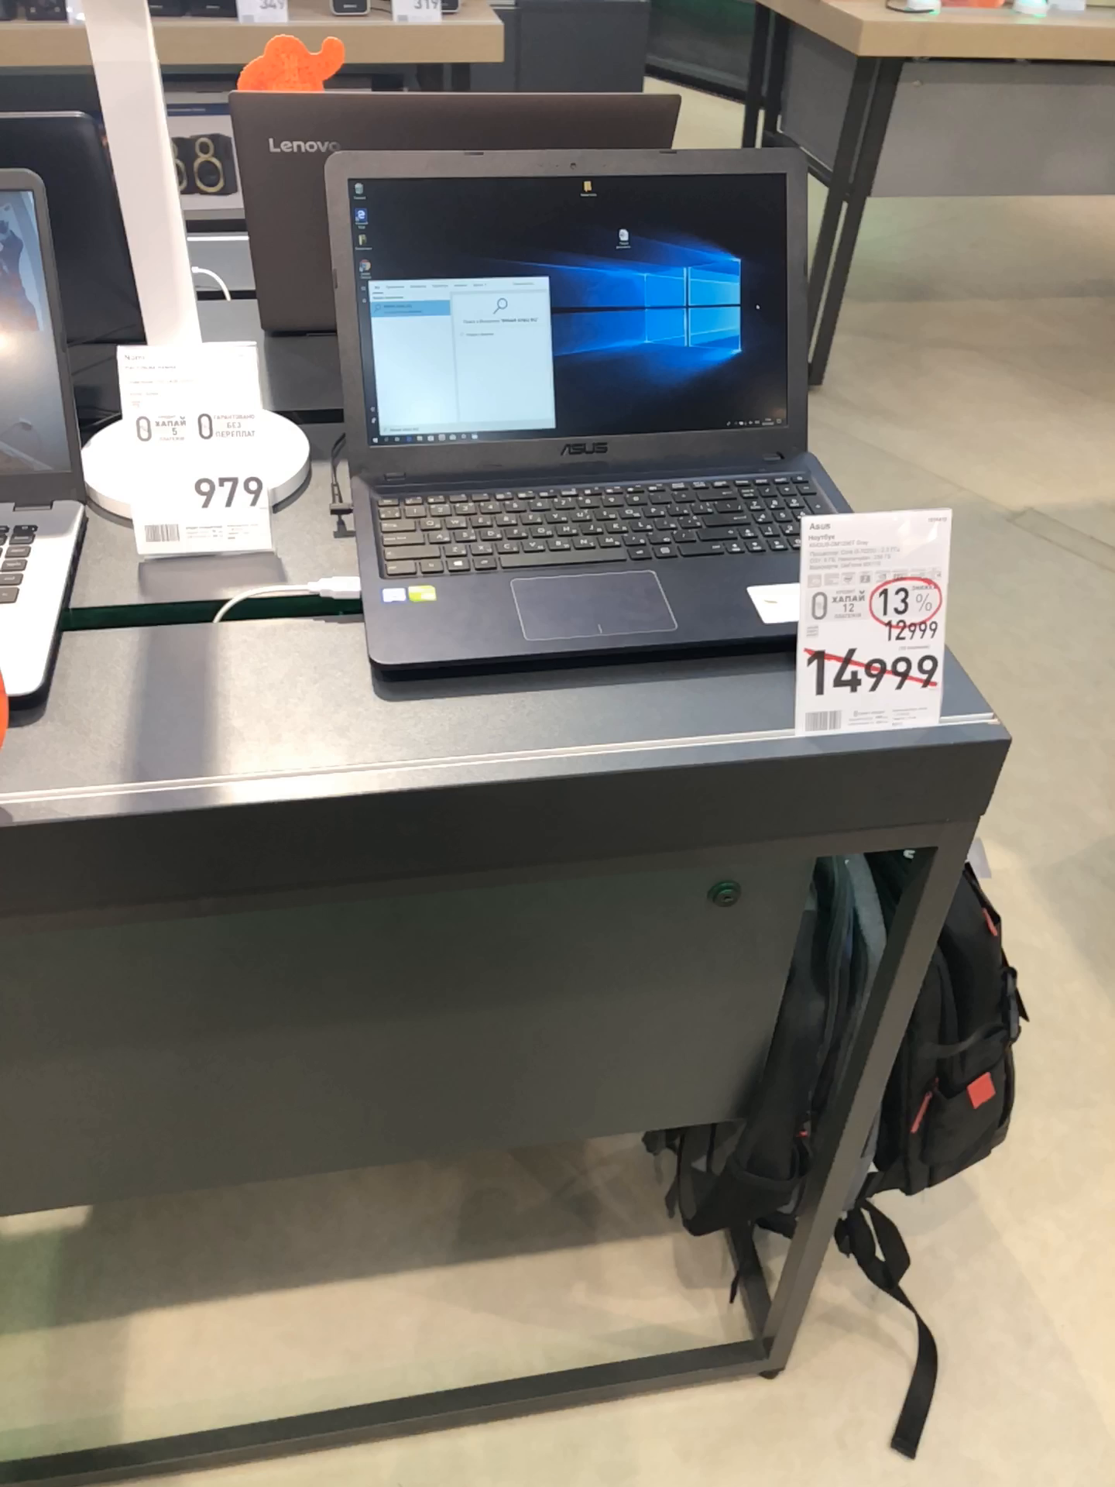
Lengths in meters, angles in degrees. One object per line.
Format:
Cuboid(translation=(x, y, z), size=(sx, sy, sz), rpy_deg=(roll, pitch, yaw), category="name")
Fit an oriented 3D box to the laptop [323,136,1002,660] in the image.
Cuboid(translation=(0.037, -0.273, 0.896), size=(0.380, 0.209, 0.372), rpy_deg=(-5, 41, -9), category="laptop")
